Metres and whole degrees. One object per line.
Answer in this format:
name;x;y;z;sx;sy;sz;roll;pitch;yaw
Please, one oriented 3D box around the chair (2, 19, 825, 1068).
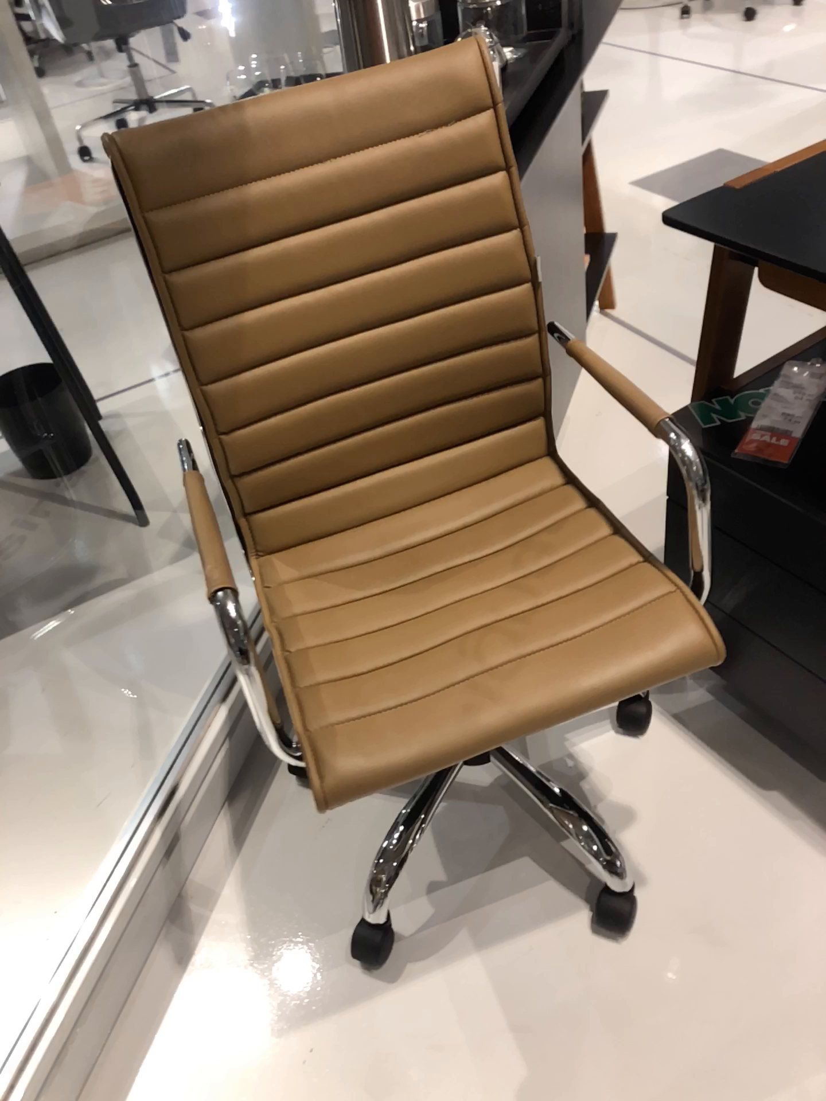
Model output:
chair;0.031;0.011;1.086;0.600;0.943;0.614;-18;41;-8
